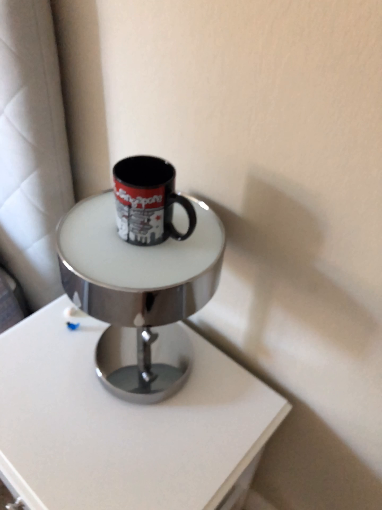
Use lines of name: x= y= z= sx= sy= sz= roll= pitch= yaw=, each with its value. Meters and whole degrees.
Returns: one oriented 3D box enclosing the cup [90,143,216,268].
cup: x=-0.050 y=-0.069 z=0.573 sx=0.130 sy=0.099 sz=0.090 roll=23 pitch=43 yaw=20
